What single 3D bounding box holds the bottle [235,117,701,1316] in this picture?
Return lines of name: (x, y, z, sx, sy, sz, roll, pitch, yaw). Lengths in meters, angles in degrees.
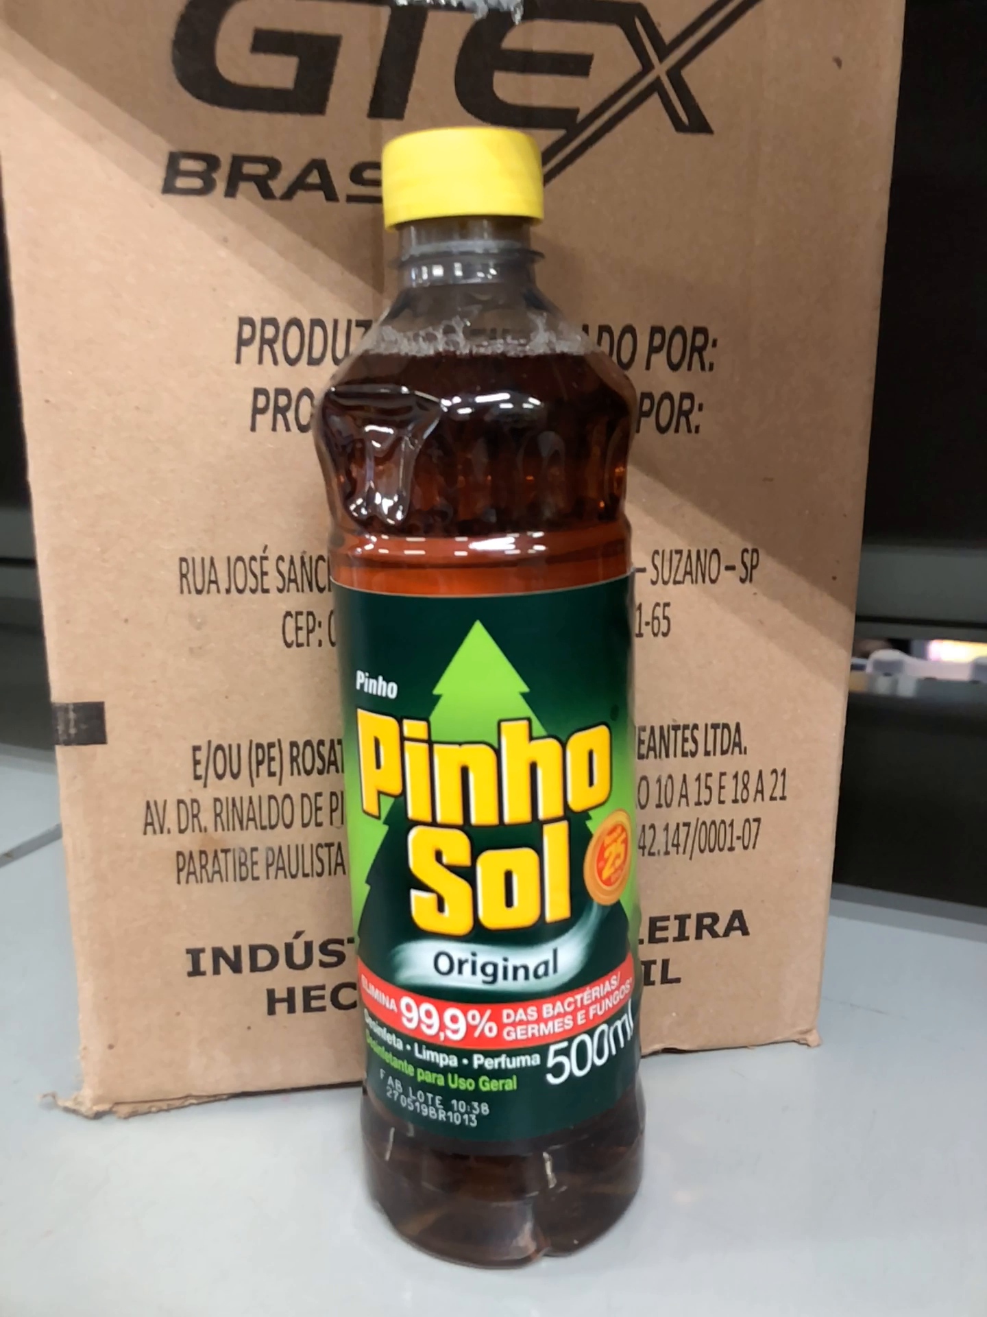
bottle: (-0.004, 0.017, 0.221, 0.070, 0.219, 0.060, -2, 14, -4)
